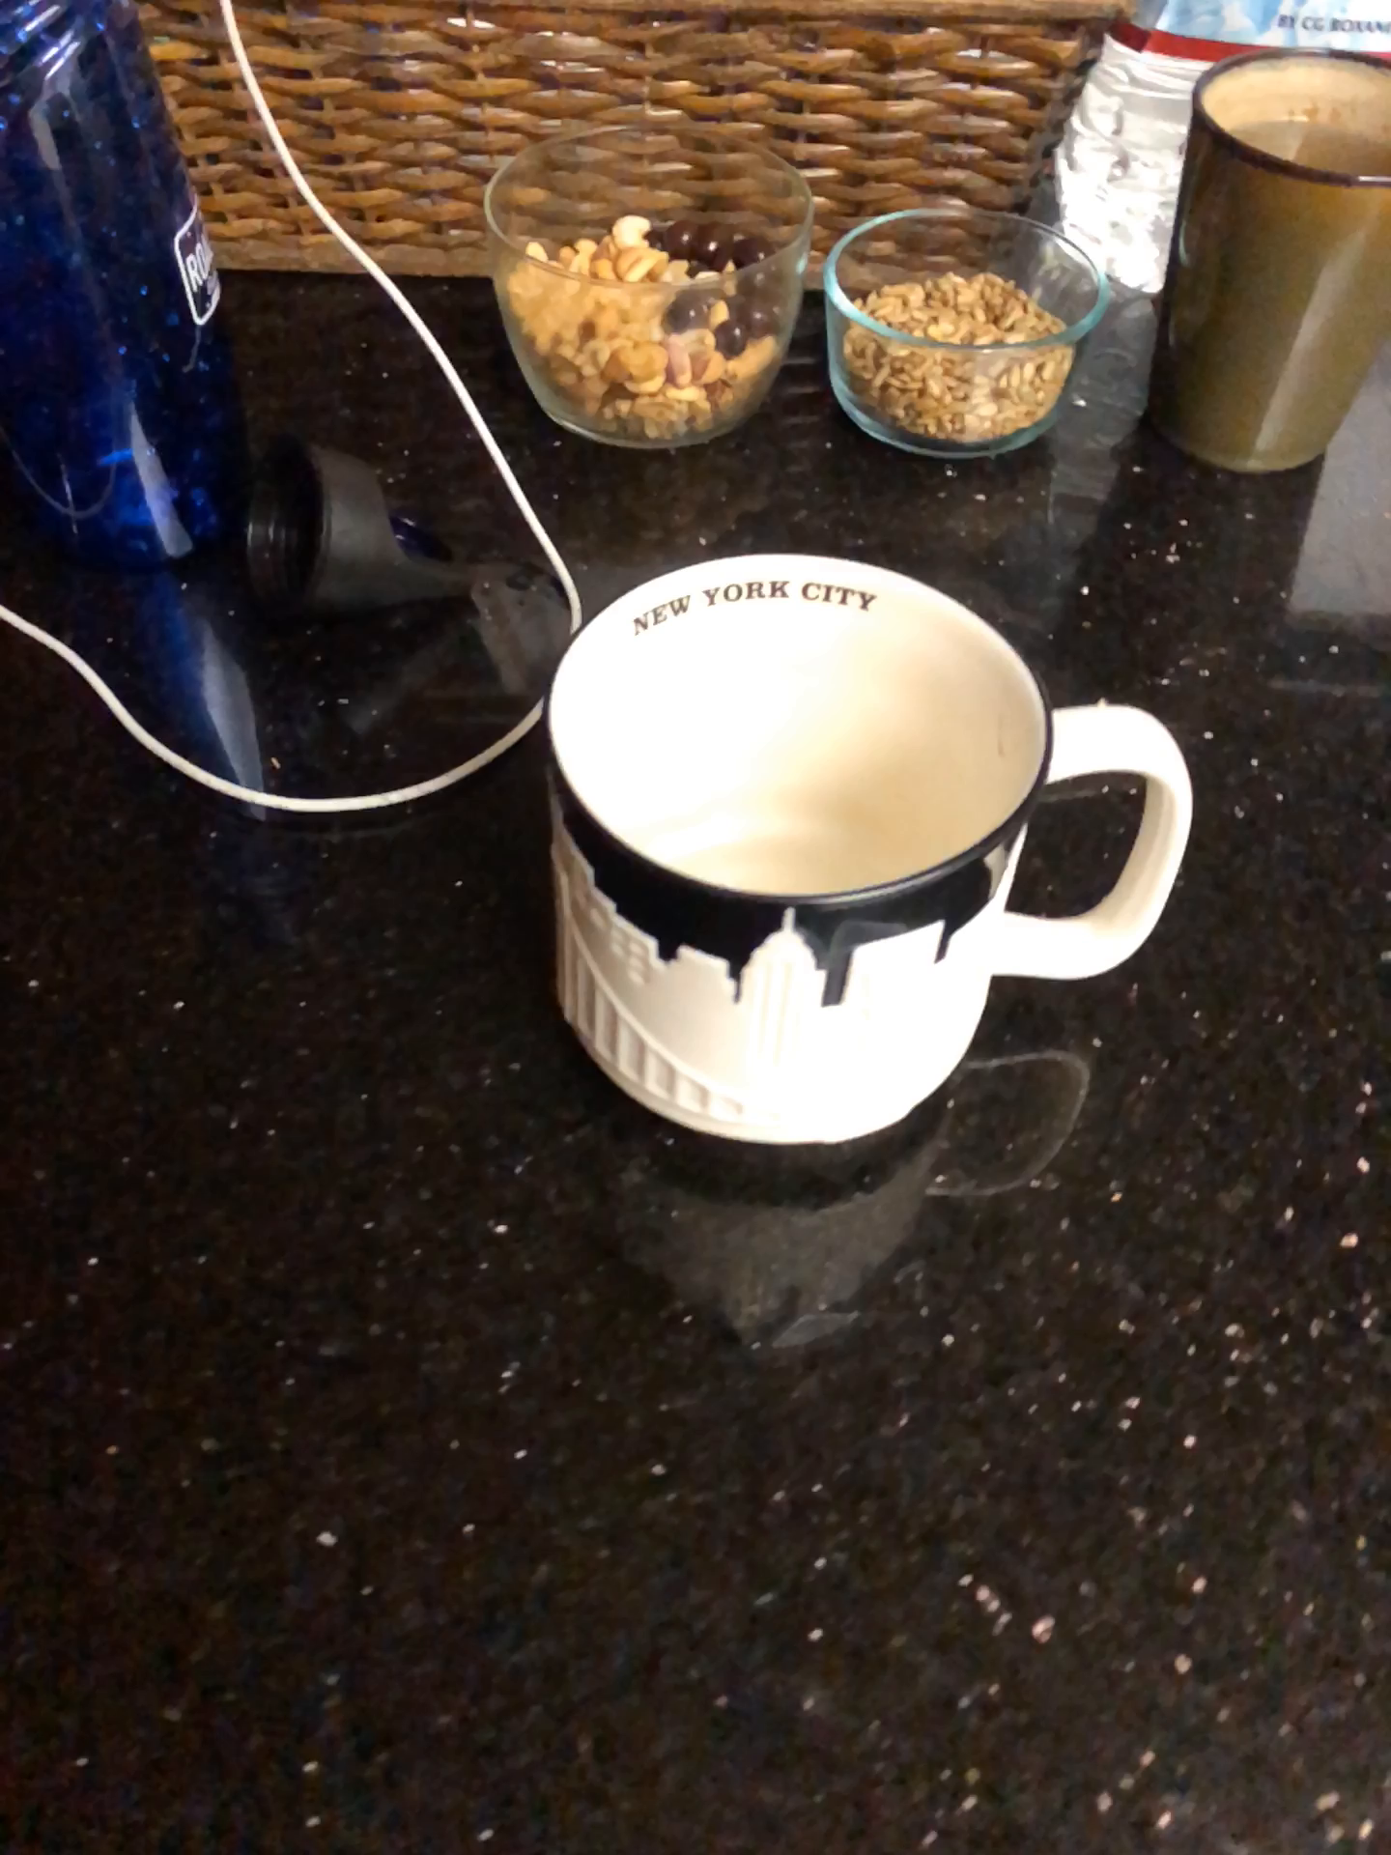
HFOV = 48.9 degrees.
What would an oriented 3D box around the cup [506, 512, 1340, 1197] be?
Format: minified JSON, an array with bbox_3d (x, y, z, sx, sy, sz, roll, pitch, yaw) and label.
[{"bbox_3d":[0.040,-0.019,0.353,0.150,0.090,0.111,-7,51,-7],"label":"cup"}]
